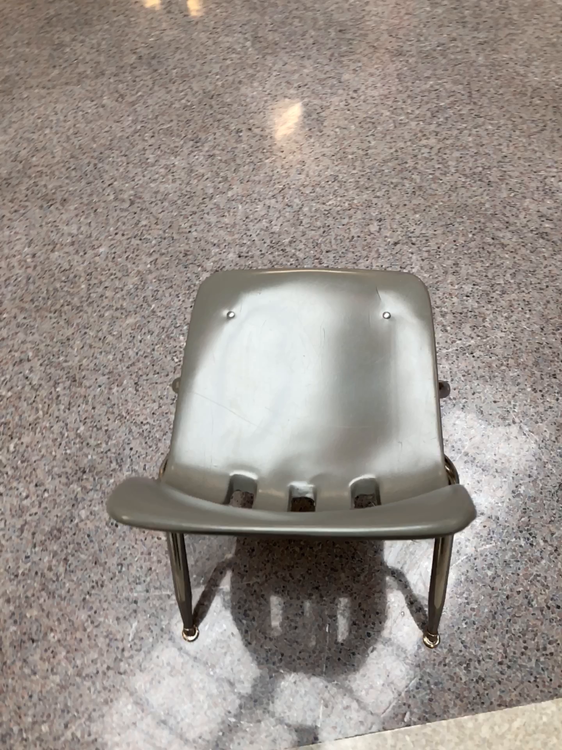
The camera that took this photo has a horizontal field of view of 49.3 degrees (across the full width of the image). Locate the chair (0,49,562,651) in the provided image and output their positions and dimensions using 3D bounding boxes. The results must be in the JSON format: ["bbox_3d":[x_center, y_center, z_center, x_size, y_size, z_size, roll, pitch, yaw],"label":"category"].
[{"bbox_3d":[0.020,0.039,0.848,0.510,0.667,0.552,1,61,3],"label":"chair"}]
